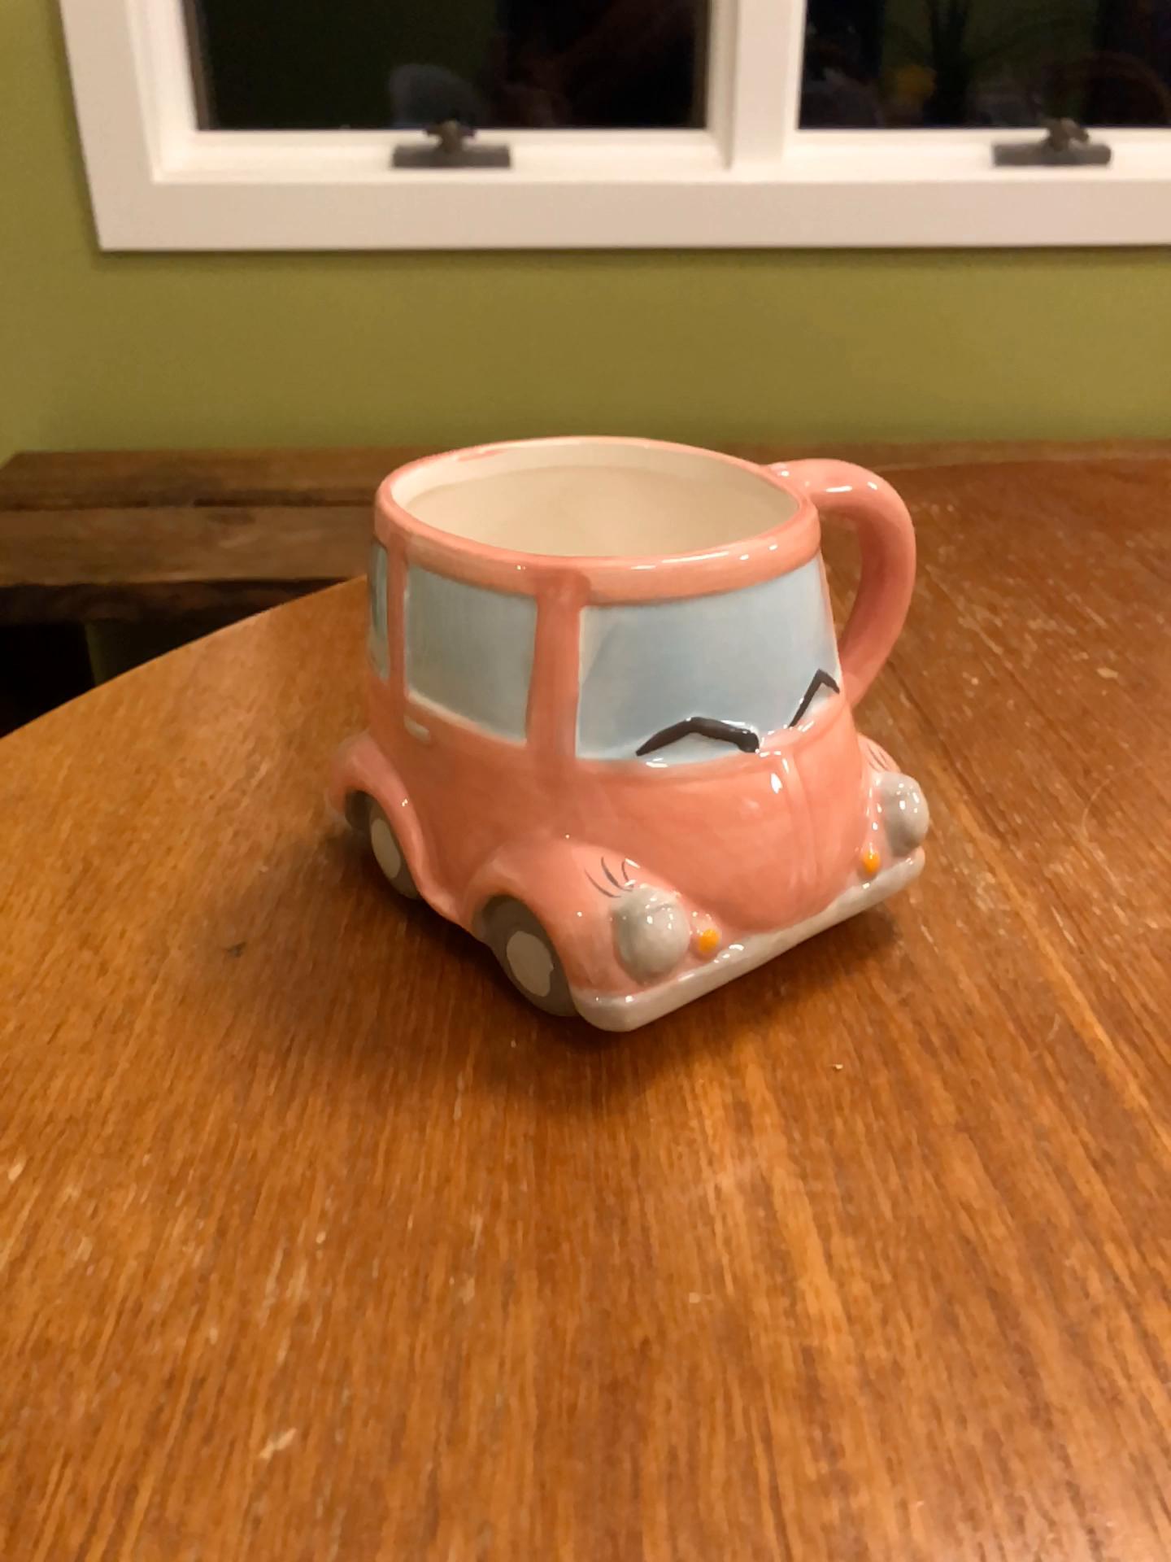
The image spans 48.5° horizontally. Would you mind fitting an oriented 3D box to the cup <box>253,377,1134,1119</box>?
[{"bbox_3d":[0.022,-0.025,0.302,0.140,0.097,0.128,-1,28,0],"label":"cup"}]
